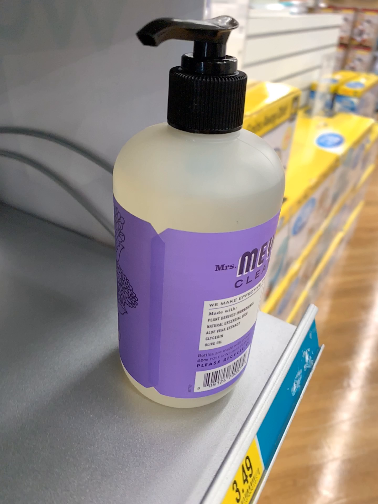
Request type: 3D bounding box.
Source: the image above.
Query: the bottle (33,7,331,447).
[{"bbox_3d":[0.001,-0.010,0.172,0.070,0.159,0.080,16,35,18],"label":"bottle"}]
